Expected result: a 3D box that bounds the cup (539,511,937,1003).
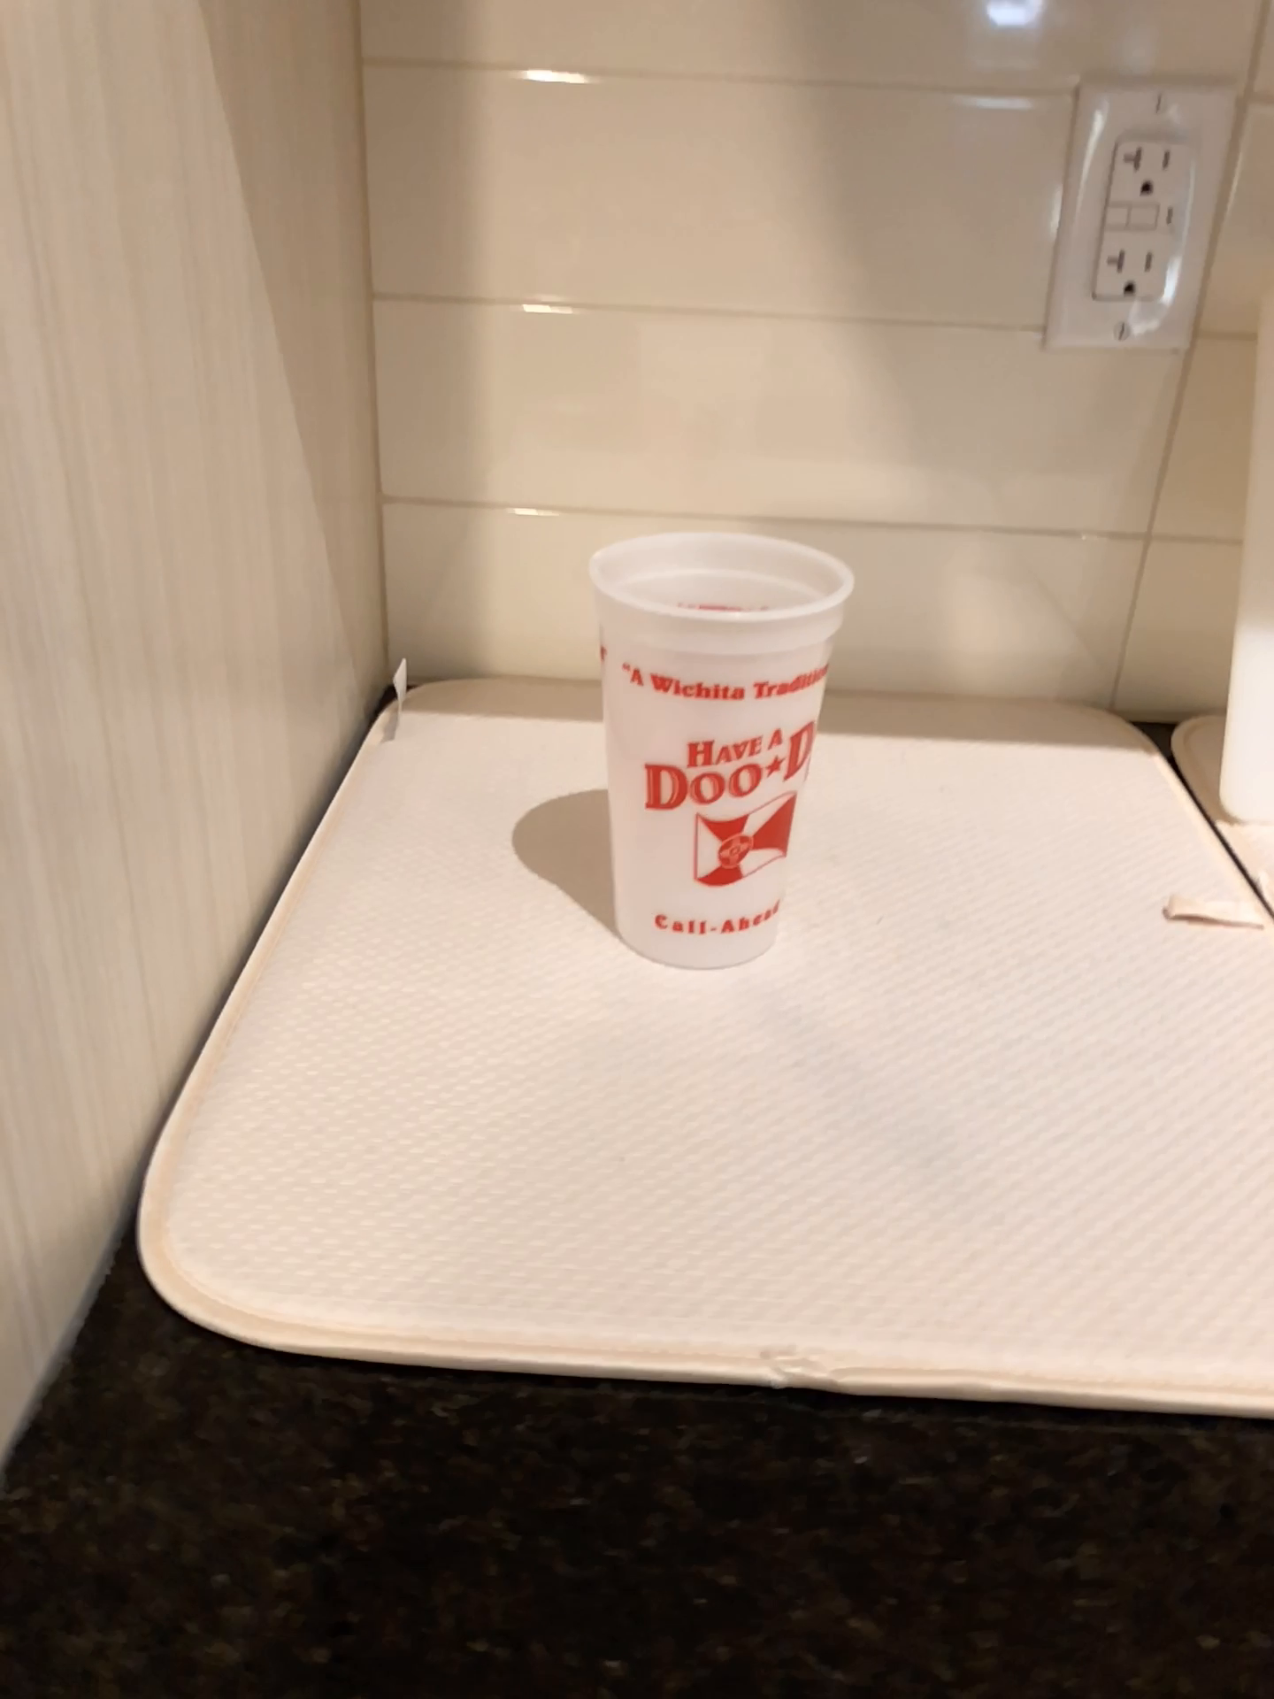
[{"bbox_3d":[0.031,-0.039,0.524,0.100,0.139,0.100,2,28,-1],"label":"cup"}]
